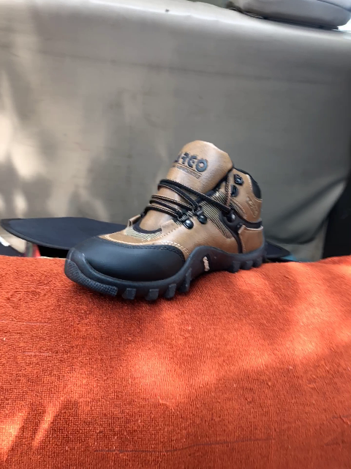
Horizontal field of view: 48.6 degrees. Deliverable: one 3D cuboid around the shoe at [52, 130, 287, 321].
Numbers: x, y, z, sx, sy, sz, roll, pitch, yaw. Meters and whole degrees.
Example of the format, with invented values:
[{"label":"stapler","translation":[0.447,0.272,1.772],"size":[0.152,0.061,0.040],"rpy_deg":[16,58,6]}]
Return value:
[{"label":"shoe","translation":[0.008,-0.031,0.451],"size":[0.110,0.149,0.271],"rpy_deg":[17,19,37]}]
